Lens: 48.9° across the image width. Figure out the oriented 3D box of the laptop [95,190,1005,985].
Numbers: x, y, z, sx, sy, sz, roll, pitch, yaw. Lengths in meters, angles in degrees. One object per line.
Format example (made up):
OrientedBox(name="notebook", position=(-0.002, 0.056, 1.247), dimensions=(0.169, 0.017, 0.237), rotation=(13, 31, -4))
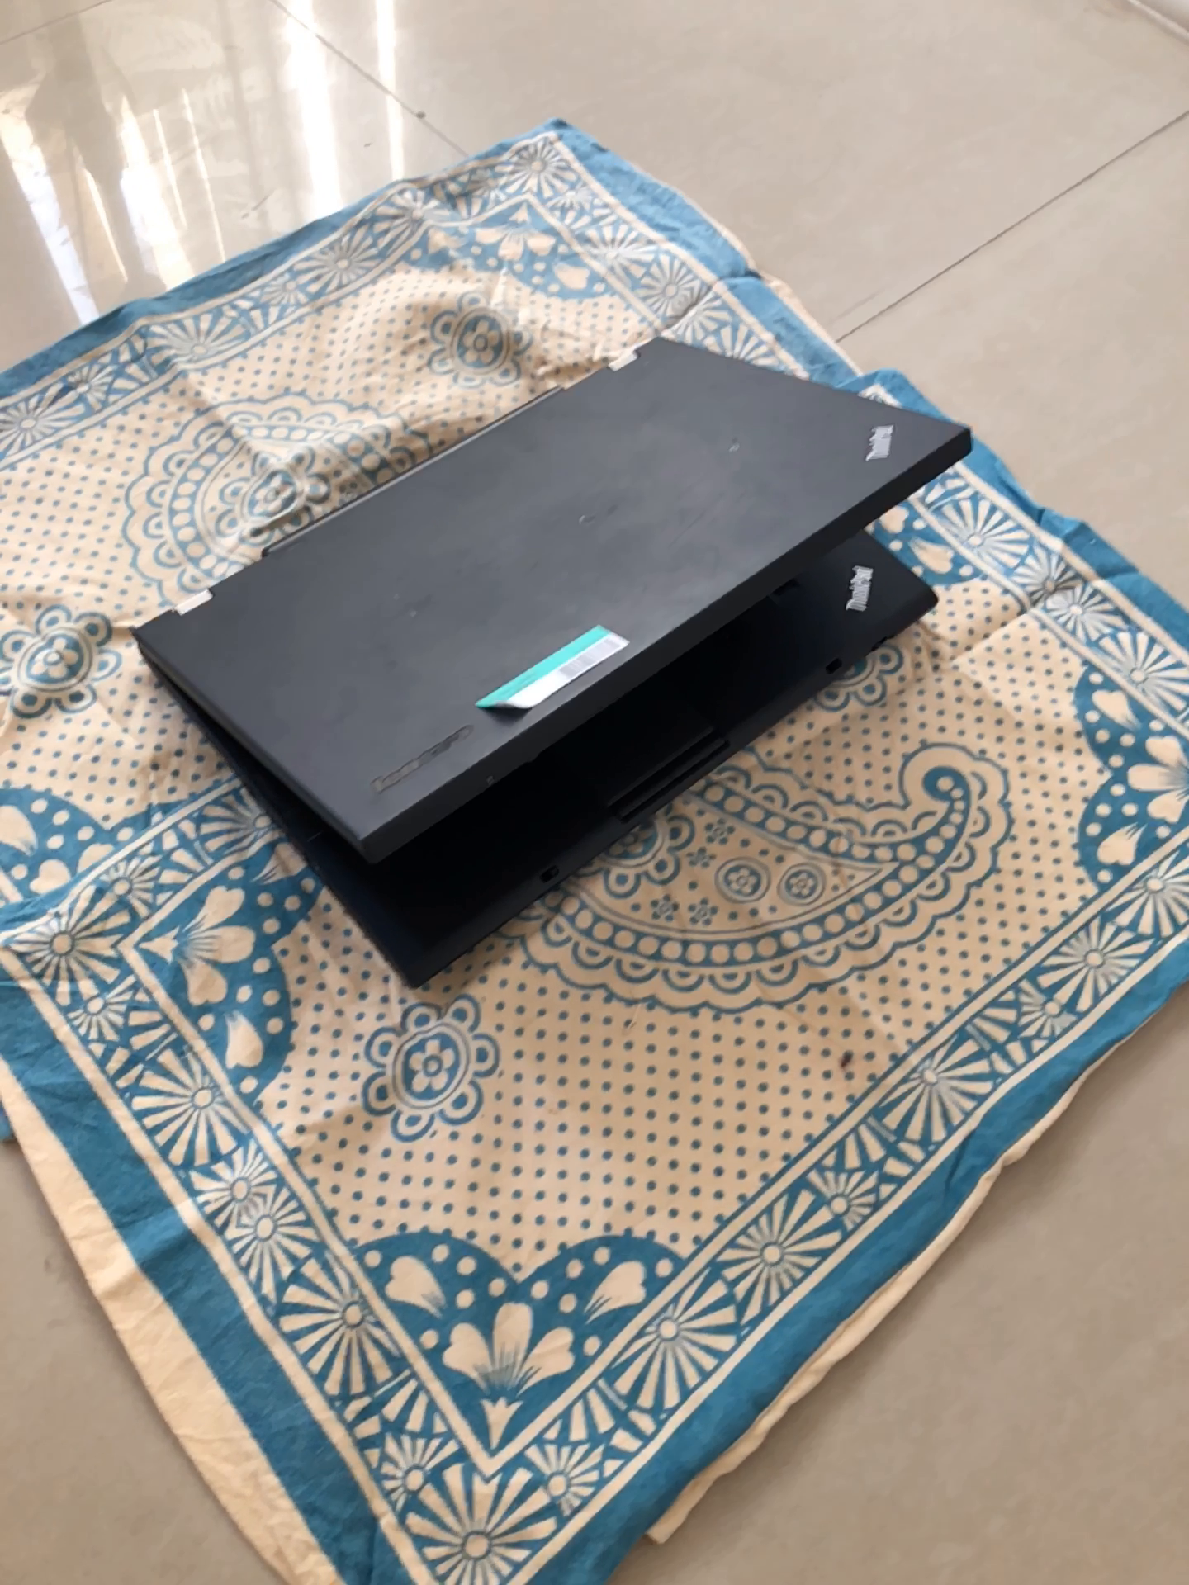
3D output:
OrientedBox(name="laptop", position=(-0.025, -0.116, 0.666), dimensions=(0.348, 0.125, 0.240), rotation=(-35, 67, -16))
